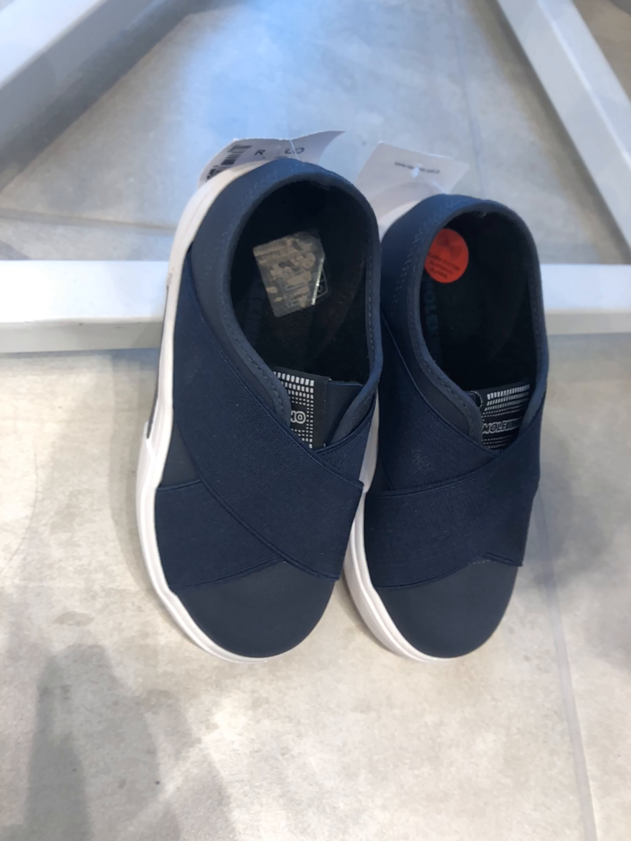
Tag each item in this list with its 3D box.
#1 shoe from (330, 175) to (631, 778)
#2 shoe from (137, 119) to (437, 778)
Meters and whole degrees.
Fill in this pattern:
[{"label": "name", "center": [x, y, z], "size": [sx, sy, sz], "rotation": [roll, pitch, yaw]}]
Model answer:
[{"label": "shoe", "center": [0.051, 0.015, 0.248], "size": [0.070, 0.070, 0.180], "rotation": [-3, 102, -19]}, {"label": "shoe", "center": [-0.016, 0.007, 0.233], "size": [0.070, 0.070, 0.180], "rotation": [-2, 102, -24]}]
